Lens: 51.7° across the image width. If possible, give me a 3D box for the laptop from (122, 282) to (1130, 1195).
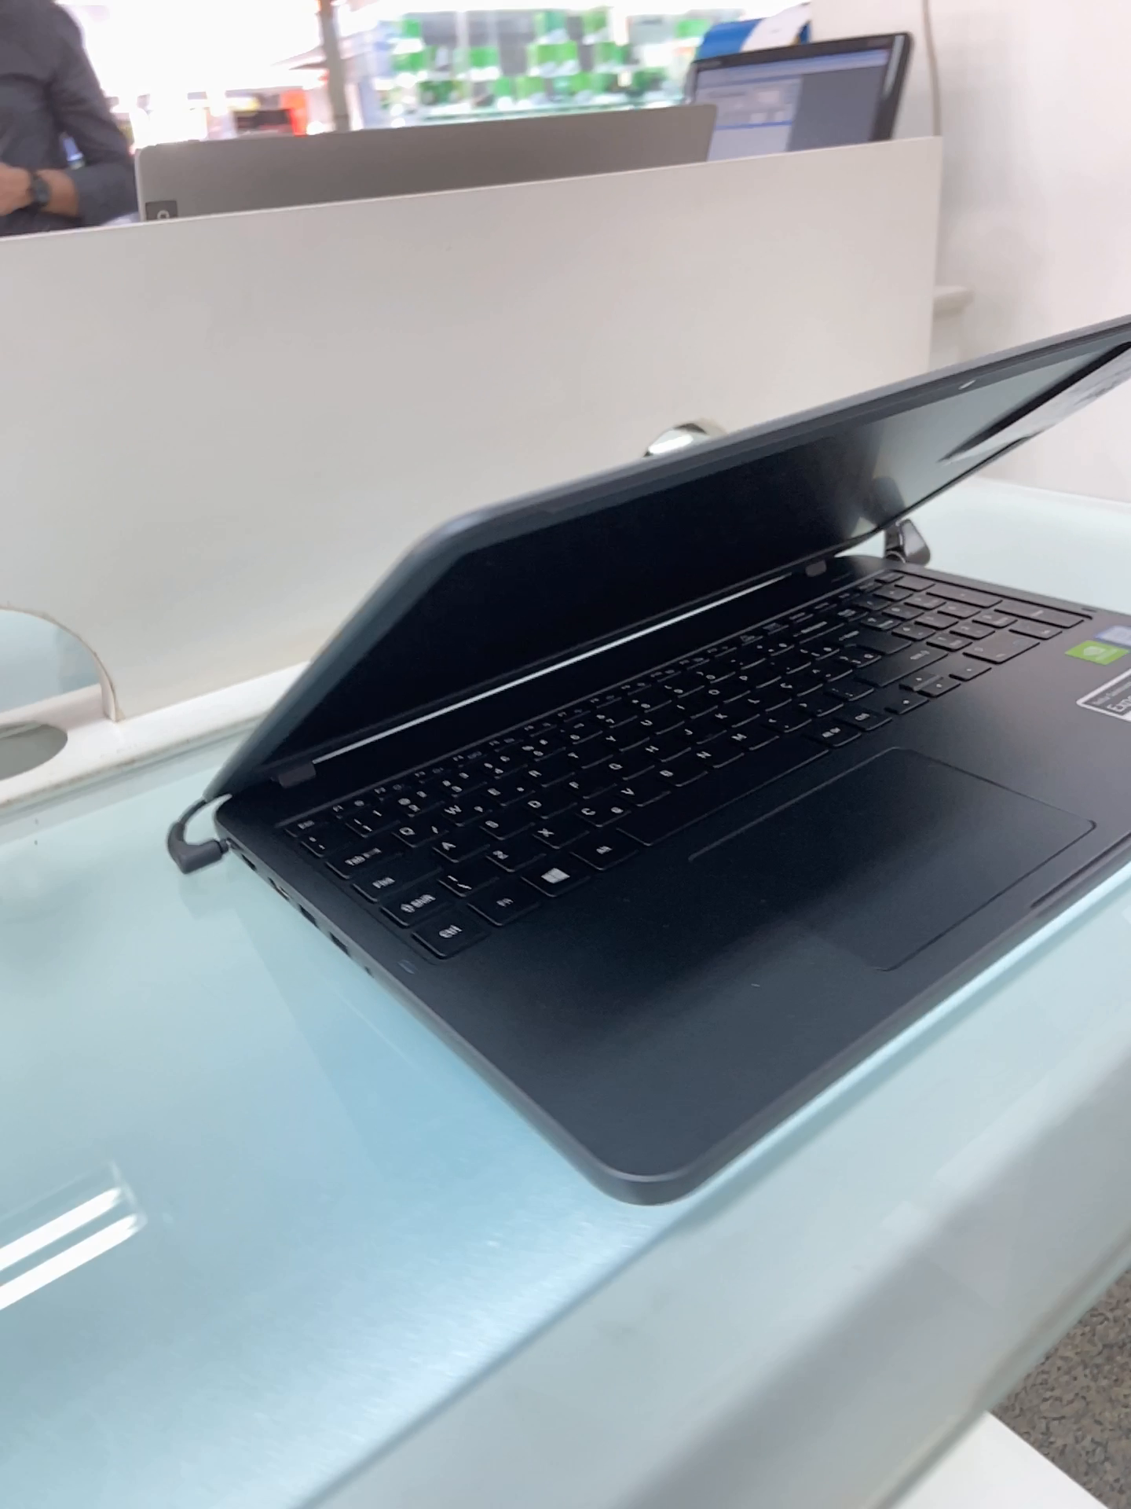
[{"bbox_3d":[0.086,-0.066,0.418,0.378,0.140,0.239,-24,33,-32],"label":"laptop"}]
